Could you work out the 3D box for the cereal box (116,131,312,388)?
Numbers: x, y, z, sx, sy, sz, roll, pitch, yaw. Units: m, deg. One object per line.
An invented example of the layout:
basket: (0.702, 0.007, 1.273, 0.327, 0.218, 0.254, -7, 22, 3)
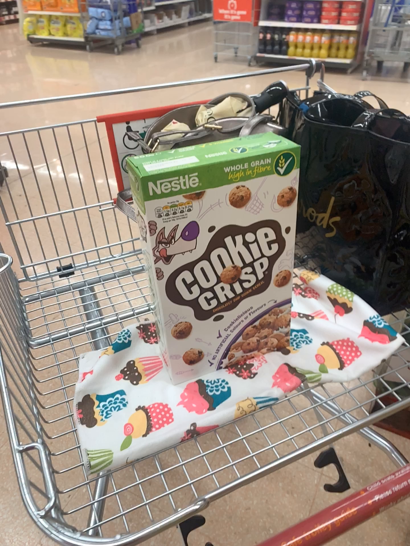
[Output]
cereal box: (0.019, -0.013, 0.572, 0.220, 0.307, 0.071, -14, 33, -18)
